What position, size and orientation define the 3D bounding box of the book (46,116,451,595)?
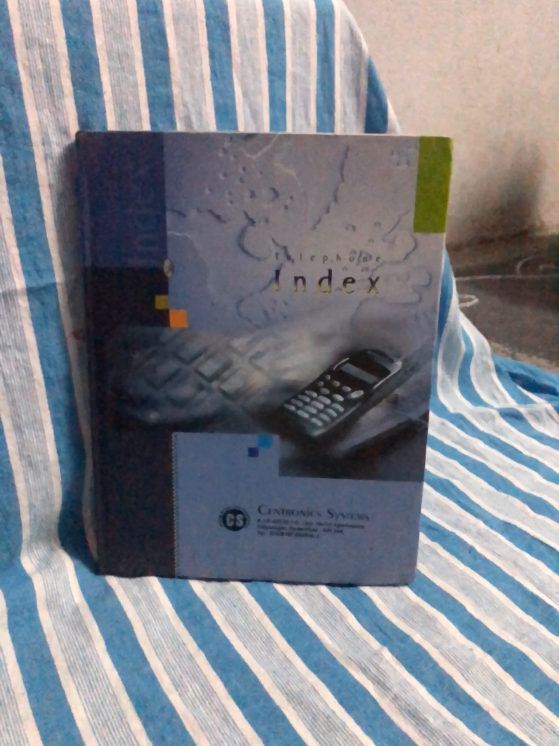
[{"bbox_3d":[-0.018,0.000,0.339,0.193,0.253,0.023,2,15,1],"label":"book"}]
